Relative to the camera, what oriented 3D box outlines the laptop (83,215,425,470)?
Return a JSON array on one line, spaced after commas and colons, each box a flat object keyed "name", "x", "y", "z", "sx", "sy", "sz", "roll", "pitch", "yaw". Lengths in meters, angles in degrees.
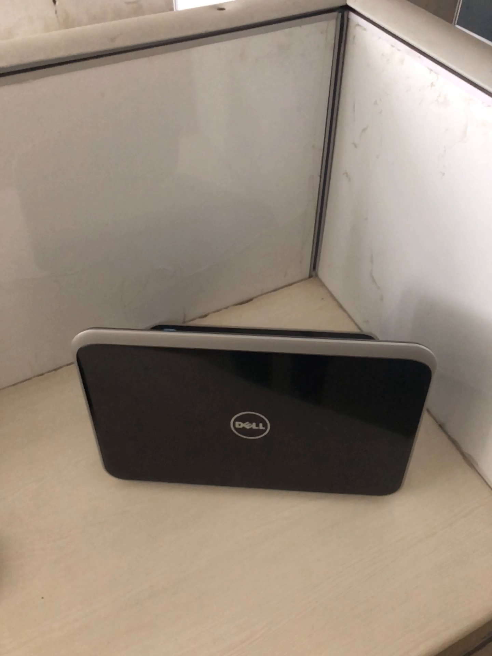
[{"name": "laptop", "x": 0.017, "y": 0.018, "z": 0.696, "sx": 0.333, "sy": 0.217, "sz": 0.240, "roll": 3, "pitch": 47, "yaw": 1}]
